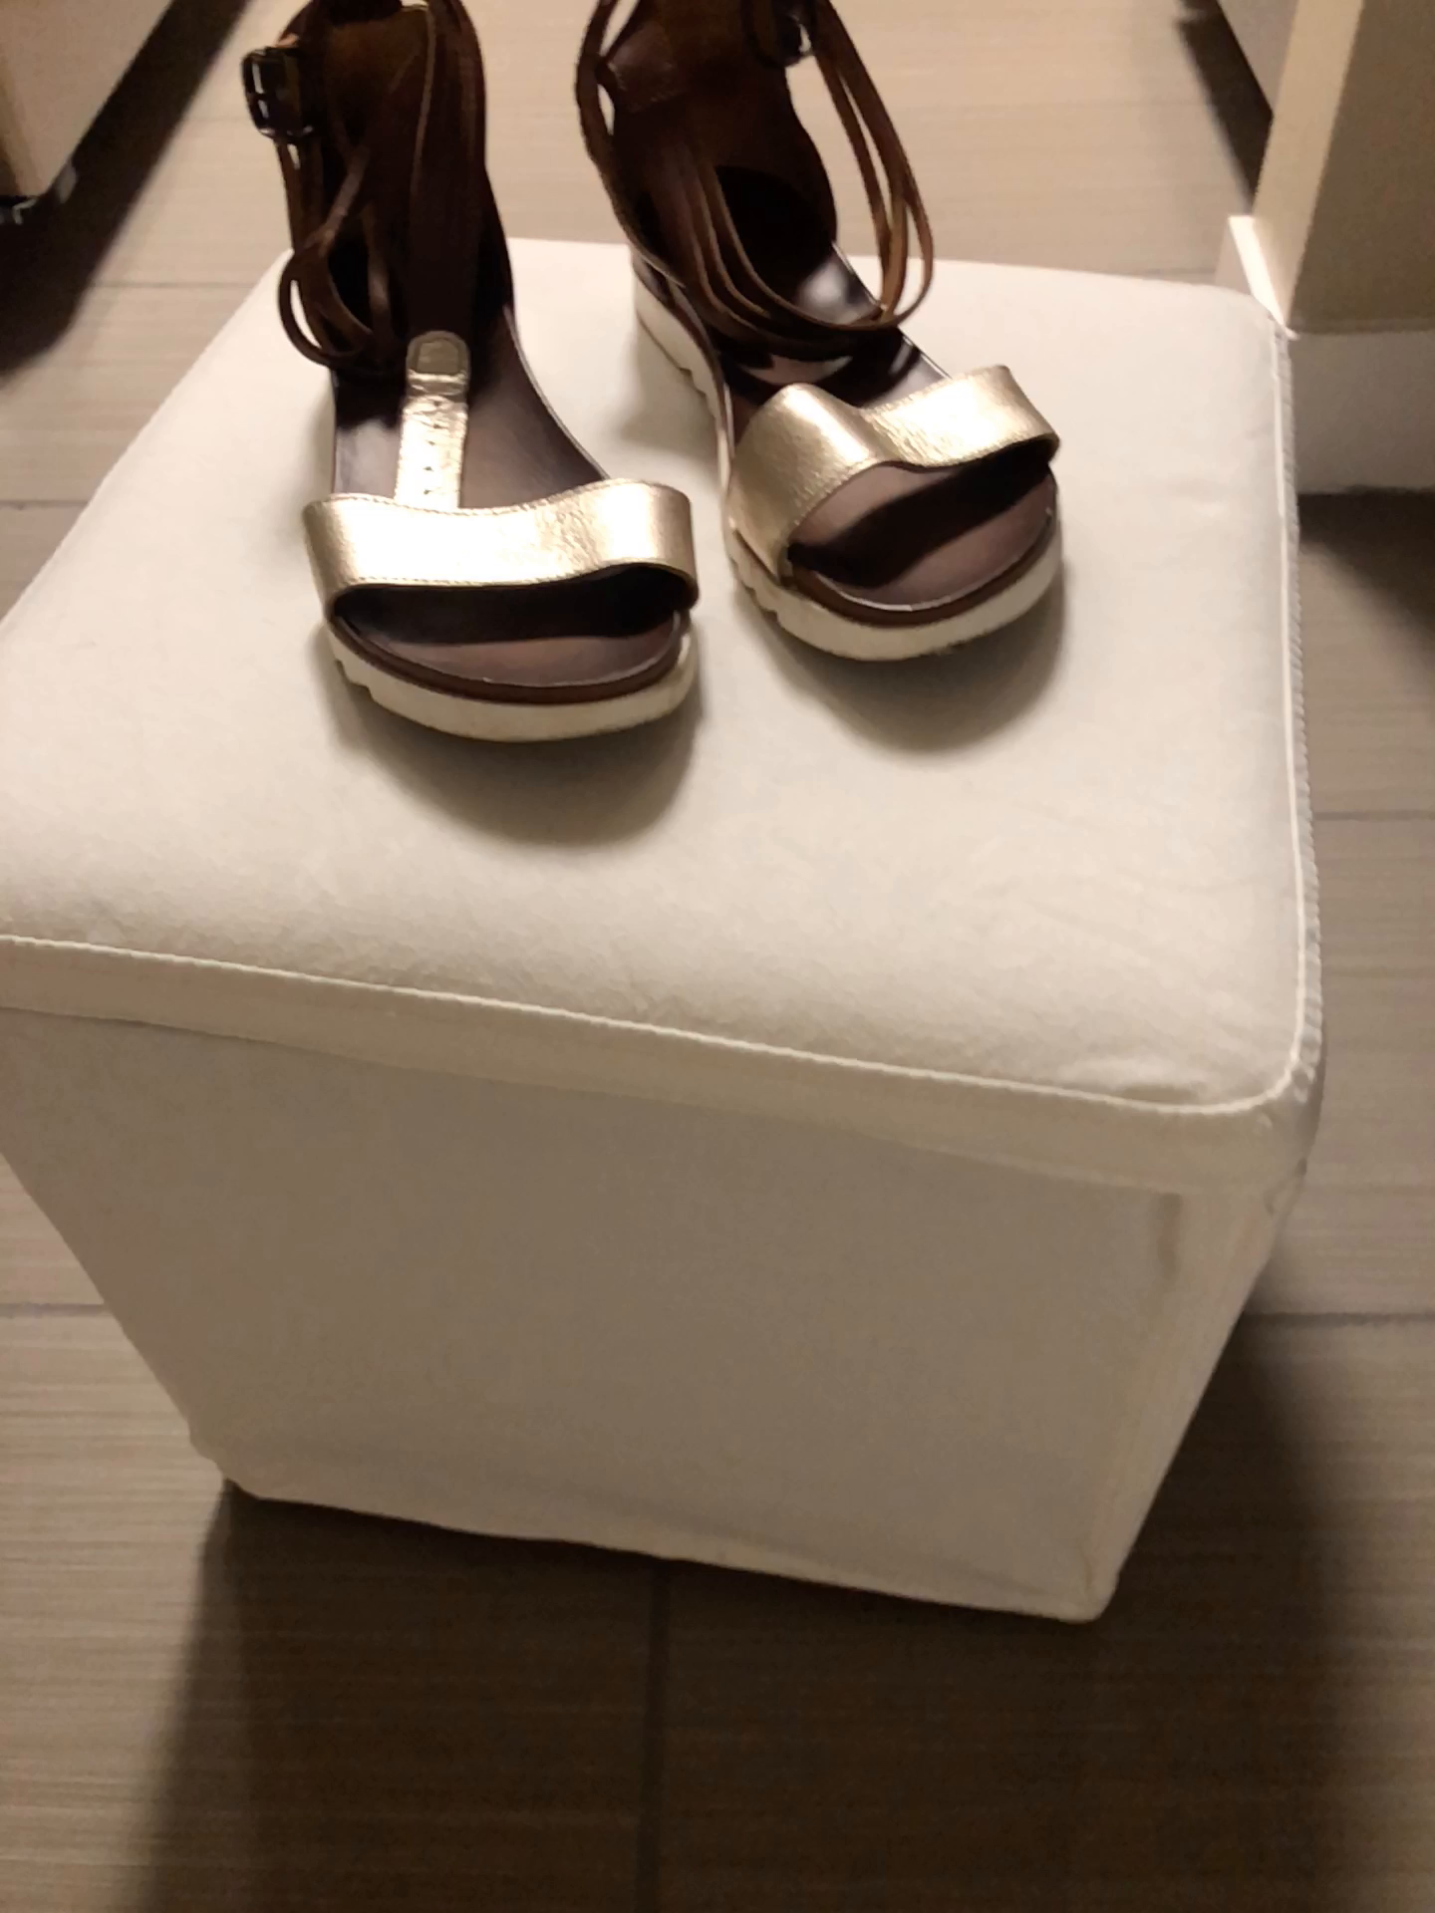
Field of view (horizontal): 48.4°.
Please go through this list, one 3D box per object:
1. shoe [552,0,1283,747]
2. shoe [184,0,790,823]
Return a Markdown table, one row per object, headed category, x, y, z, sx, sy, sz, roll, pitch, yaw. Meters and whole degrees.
| category | x | y | z | sx | sy | sz | roll | pitch | yaw |
| --- | --- | --- | --- | --- | --- | --- | --- | --- | --- |
| shoe | 0.036 | -0.189 | 0.447 | 0.110 | 0.090 | 0.261 | -12 | 51 | -8 |
| shoe | -0.069 | -0.168 | 0.427 | 0.110 | 0.090 | 0.261 | -12 | 51 | -8 |
